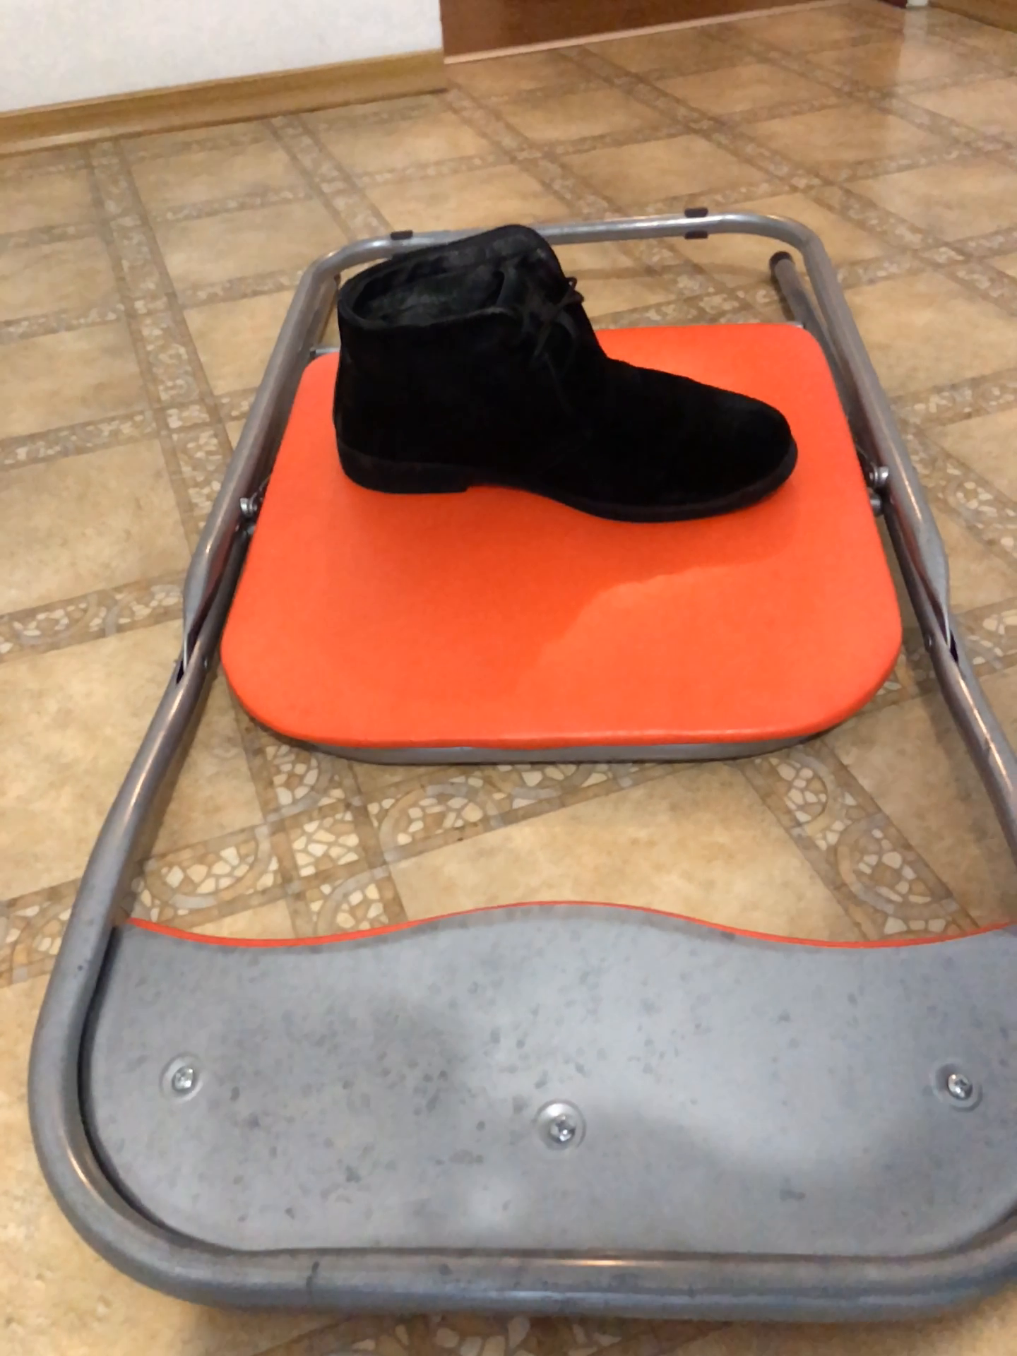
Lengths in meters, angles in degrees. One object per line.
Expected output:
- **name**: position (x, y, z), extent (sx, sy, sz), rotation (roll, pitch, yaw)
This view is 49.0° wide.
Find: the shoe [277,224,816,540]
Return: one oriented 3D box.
- **shoe**: position (0.026, -0.172, 0.637), extent (0.270, 0.129, 0.111), rotation (4, 42, 9)
